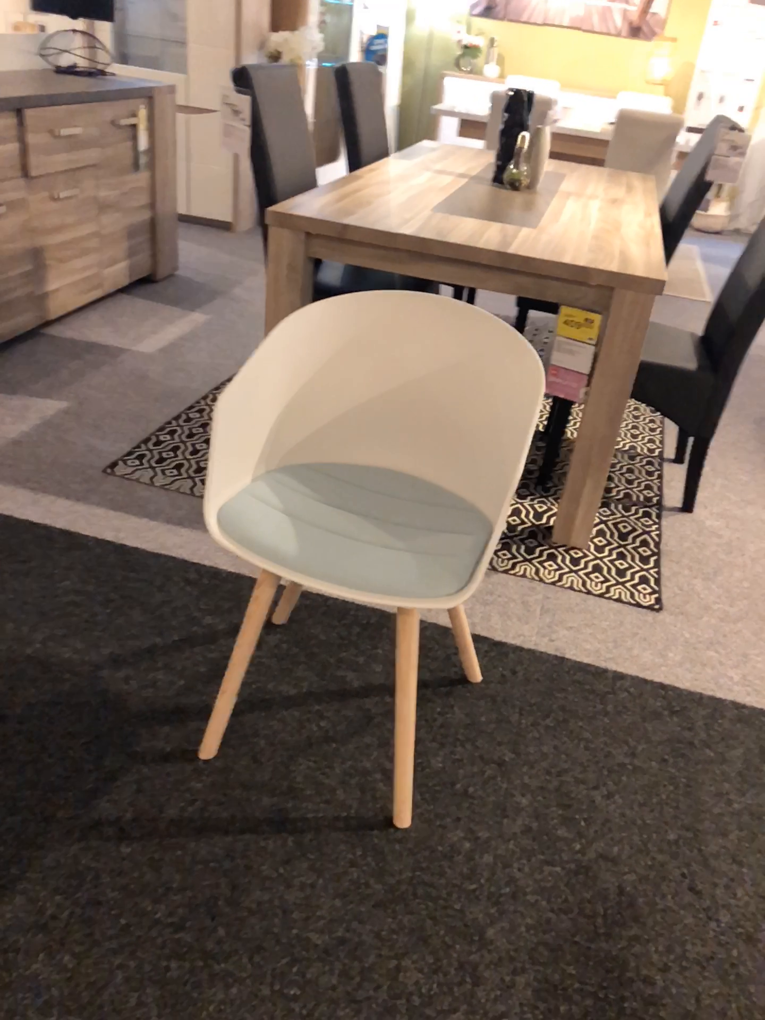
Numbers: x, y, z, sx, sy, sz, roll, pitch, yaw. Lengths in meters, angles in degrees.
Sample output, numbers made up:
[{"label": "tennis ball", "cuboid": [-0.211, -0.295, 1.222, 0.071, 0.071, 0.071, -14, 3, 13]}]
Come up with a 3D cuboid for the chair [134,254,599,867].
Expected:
[{"label": "chair", "cuboid": [-0.014, 0.045, 1.461, 0.549, 0.765, 0.584, 15, 30, 13]}]
